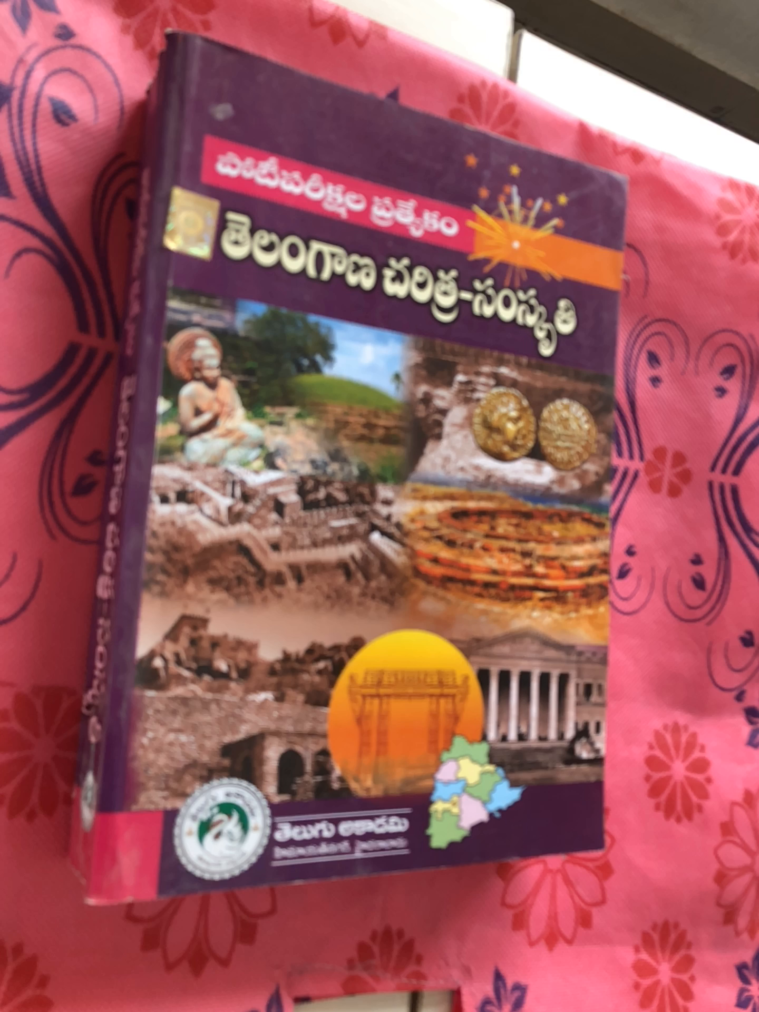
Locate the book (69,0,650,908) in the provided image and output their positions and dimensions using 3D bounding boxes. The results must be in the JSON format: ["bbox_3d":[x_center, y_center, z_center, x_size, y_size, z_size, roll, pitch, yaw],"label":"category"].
[{"bbox_3d":[0.005,-0.015,0.311,0.200,0.050,0.280,6,83,-25],"label":"book"}]
